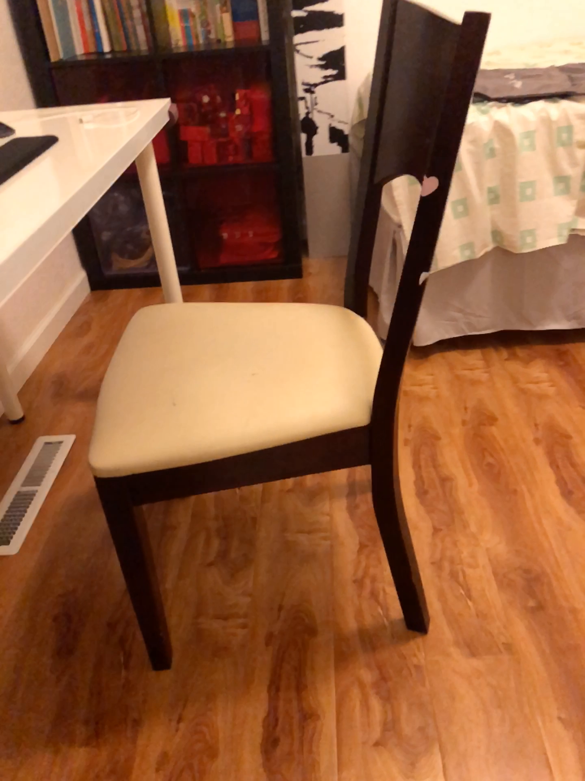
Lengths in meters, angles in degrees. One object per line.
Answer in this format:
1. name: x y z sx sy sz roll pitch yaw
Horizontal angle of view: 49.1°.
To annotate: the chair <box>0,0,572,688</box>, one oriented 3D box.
1. chair: -0.029 -0.081 0.956 0.510 0.845 0.533 -5 32 -2
